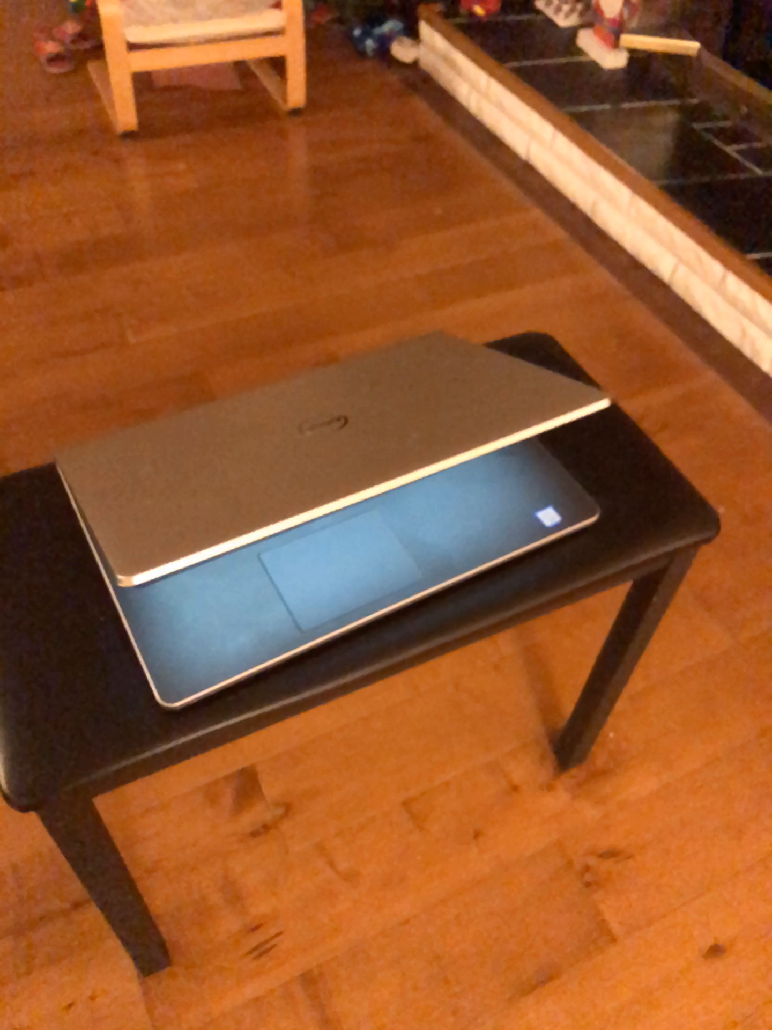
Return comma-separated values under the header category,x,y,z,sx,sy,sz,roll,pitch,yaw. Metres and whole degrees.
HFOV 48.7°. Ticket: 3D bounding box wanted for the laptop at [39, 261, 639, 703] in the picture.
category,x,y,z,sx,sy,sz,roll,pitch,yaw
laptop,-0.039,-0.051,0.670,0.365,0.107,0.248,-21,53,-21
